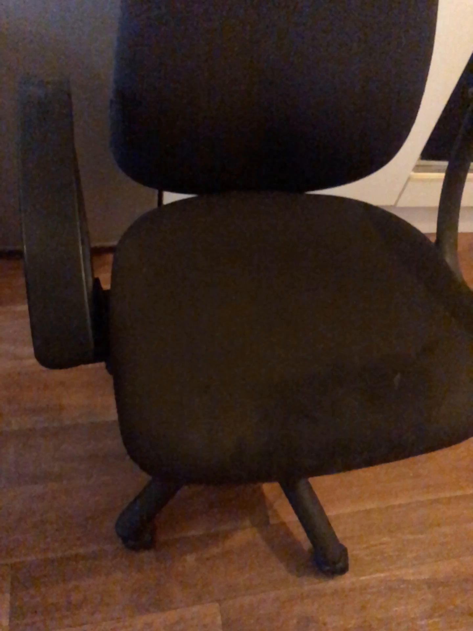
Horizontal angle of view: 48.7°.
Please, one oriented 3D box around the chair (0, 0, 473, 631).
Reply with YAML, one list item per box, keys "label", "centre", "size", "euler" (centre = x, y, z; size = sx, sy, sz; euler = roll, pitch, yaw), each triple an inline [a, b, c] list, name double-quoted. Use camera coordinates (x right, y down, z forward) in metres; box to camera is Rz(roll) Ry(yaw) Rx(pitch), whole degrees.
- label: "chair"
  centre: [0.092, -0.048, 0.722]
  size: [0.637, 0.882, 0.645]
  euler: [-4, 55, -14]
